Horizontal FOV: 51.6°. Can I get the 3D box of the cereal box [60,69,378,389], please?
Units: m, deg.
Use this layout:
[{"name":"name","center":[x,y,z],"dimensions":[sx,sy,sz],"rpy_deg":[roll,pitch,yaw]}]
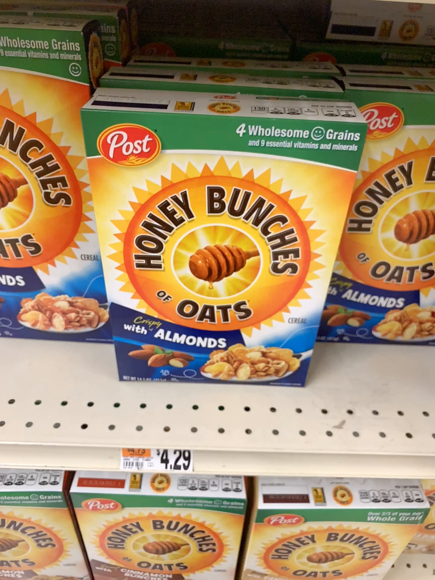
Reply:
[{"name":"cereal box","center":[-0.003,-0.030,0.394],"dimensions":[0.200,0.278,0.060],"rpy_deg":[2,39,-1]}]
